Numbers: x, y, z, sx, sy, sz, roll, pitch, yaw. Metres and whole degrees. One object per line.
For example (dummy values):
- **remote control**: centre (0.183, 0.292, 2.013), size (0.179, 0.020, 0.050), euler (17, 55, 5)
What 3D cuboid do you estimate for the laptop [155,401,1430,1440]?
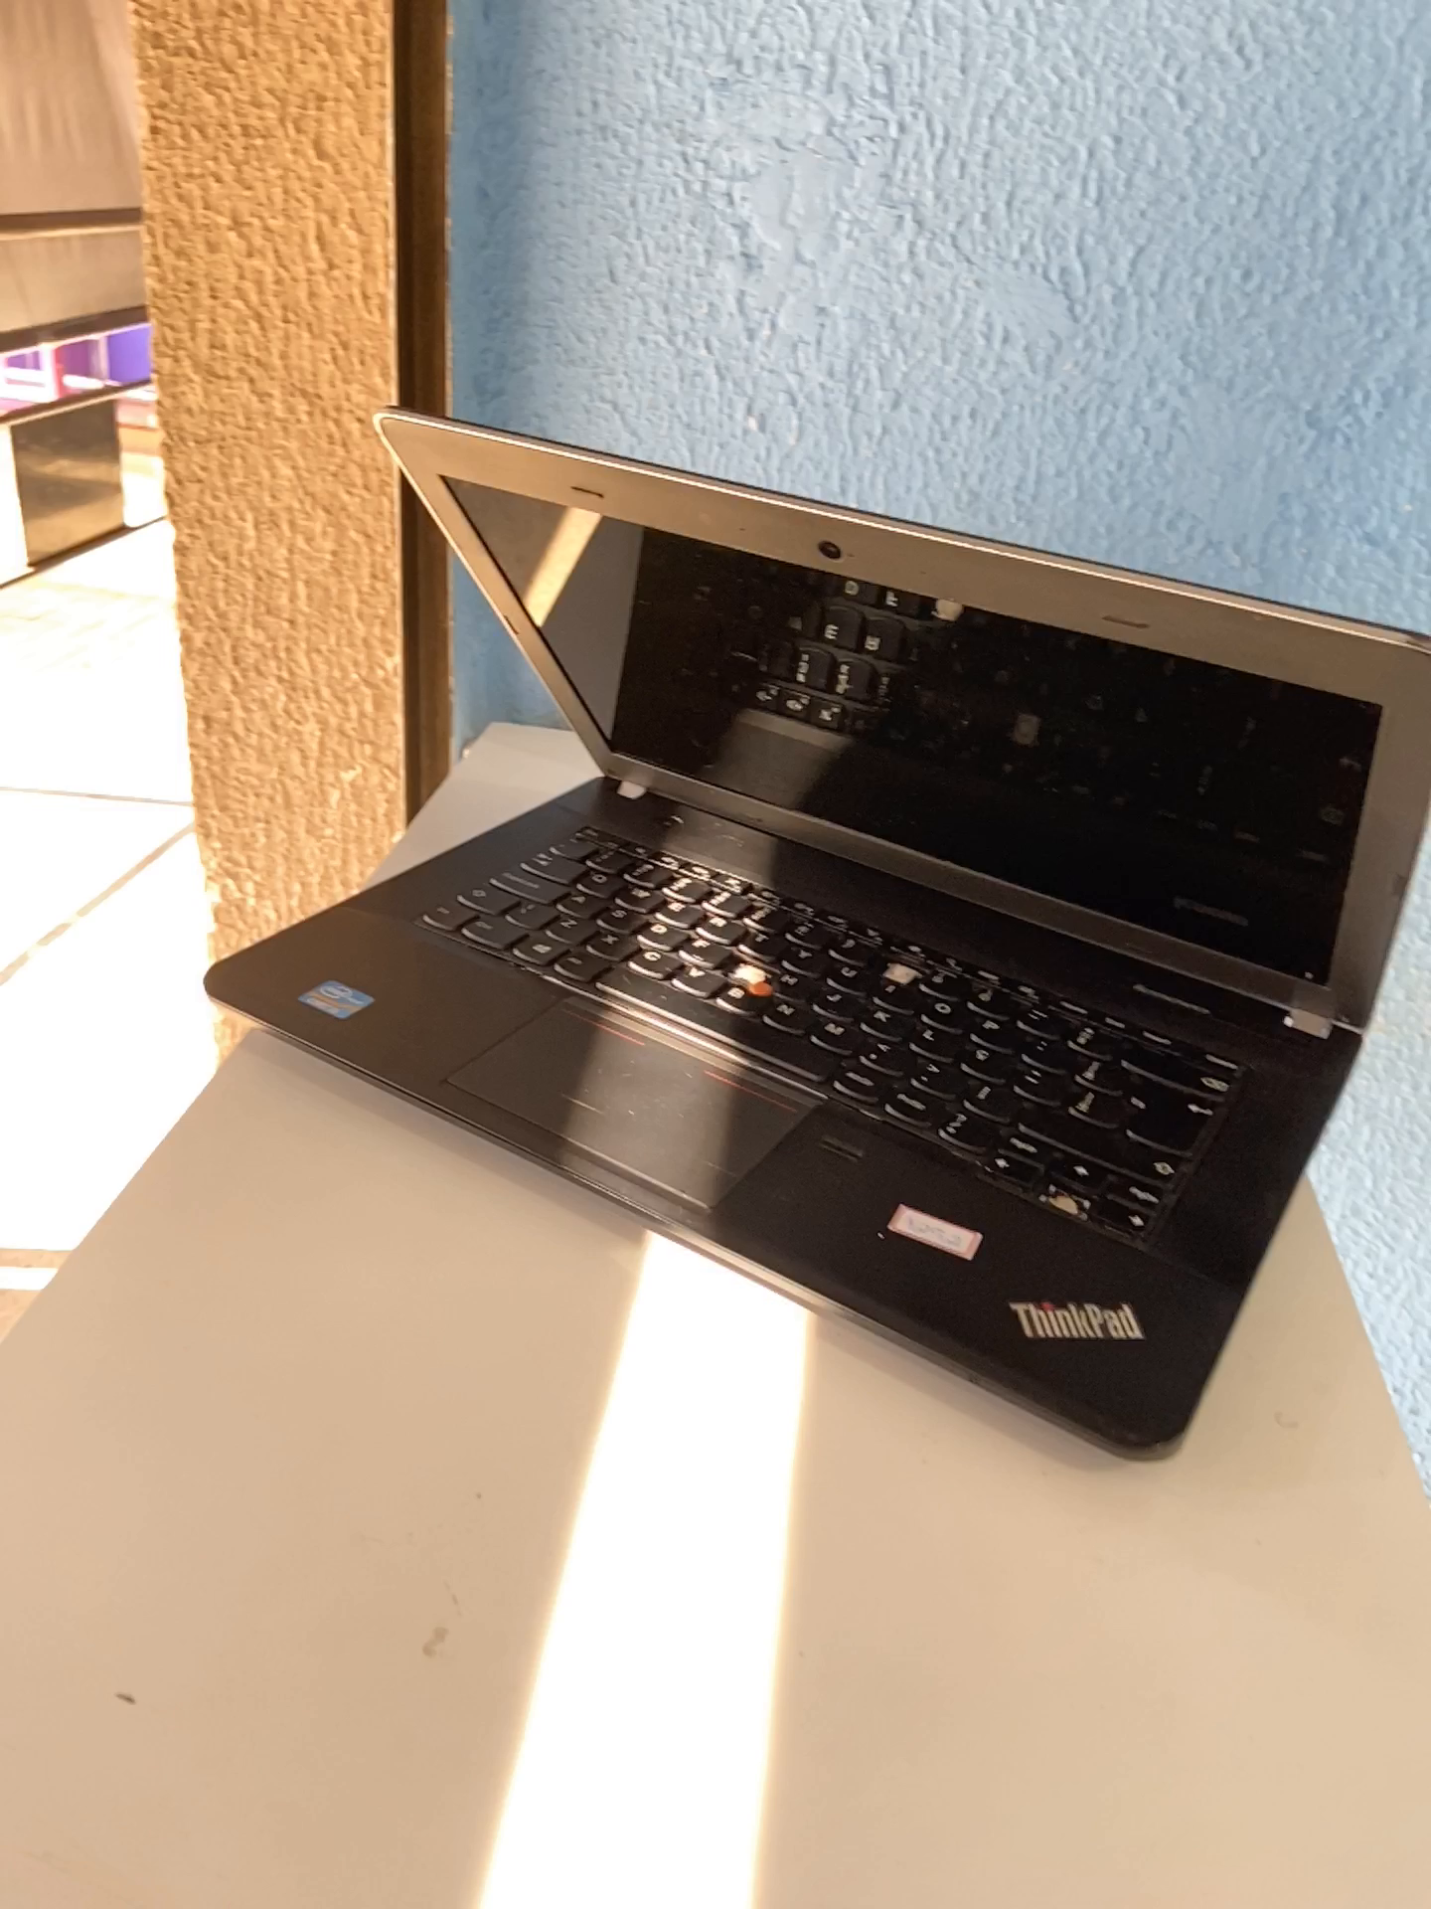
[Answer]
- **laptop**: centre (0.036, -0.054, 0.467), size (0.330, 0.165, 0.231), euler (20, 32, 26)
